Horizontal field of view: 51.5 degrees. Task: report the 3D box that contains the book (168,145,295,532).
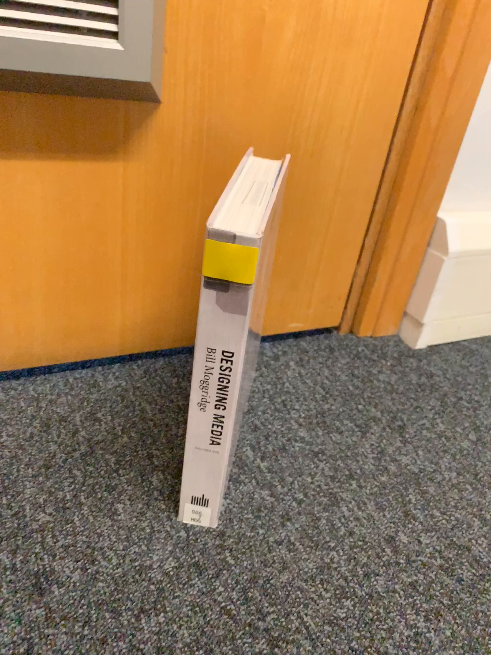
[{"bbox_3d":[-0.007,-0.004,0.410,0.040,0.231,0.212,11,30,2],"label":"book"}]
